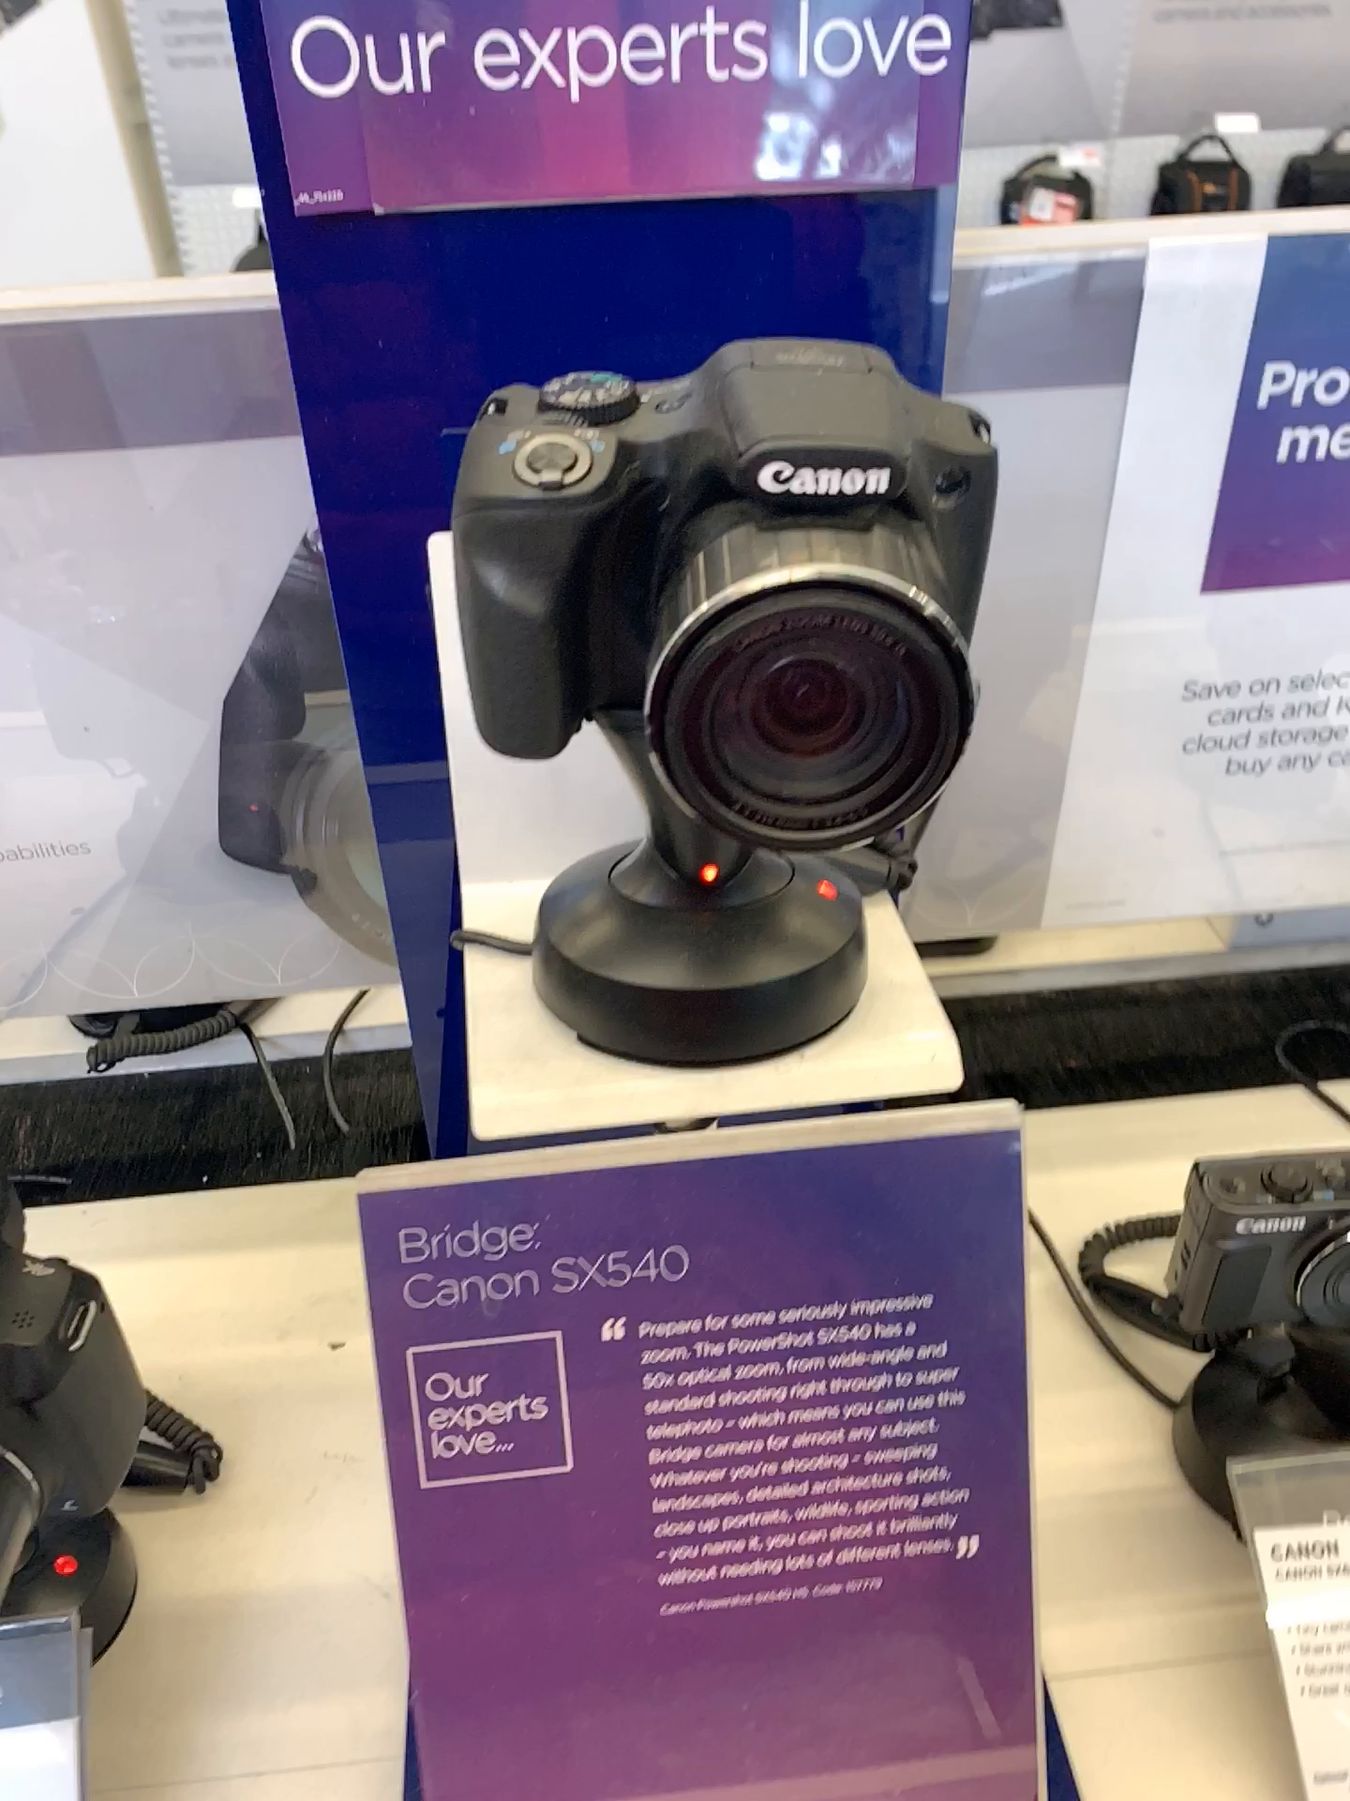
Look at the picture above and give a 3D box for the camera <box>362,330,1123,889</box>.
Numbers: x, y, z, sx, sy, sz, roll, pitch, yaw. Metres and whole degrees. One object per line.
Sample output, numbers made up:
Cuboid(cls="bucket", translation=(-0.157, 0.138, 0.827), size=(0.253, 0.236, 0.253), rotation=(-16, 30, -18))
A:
Cuboid(cls="camera", translation=(0.011, -0.064, 0.284), size=(0.120, 0.069, 0.111), rotation=(-1, 37, 1))
